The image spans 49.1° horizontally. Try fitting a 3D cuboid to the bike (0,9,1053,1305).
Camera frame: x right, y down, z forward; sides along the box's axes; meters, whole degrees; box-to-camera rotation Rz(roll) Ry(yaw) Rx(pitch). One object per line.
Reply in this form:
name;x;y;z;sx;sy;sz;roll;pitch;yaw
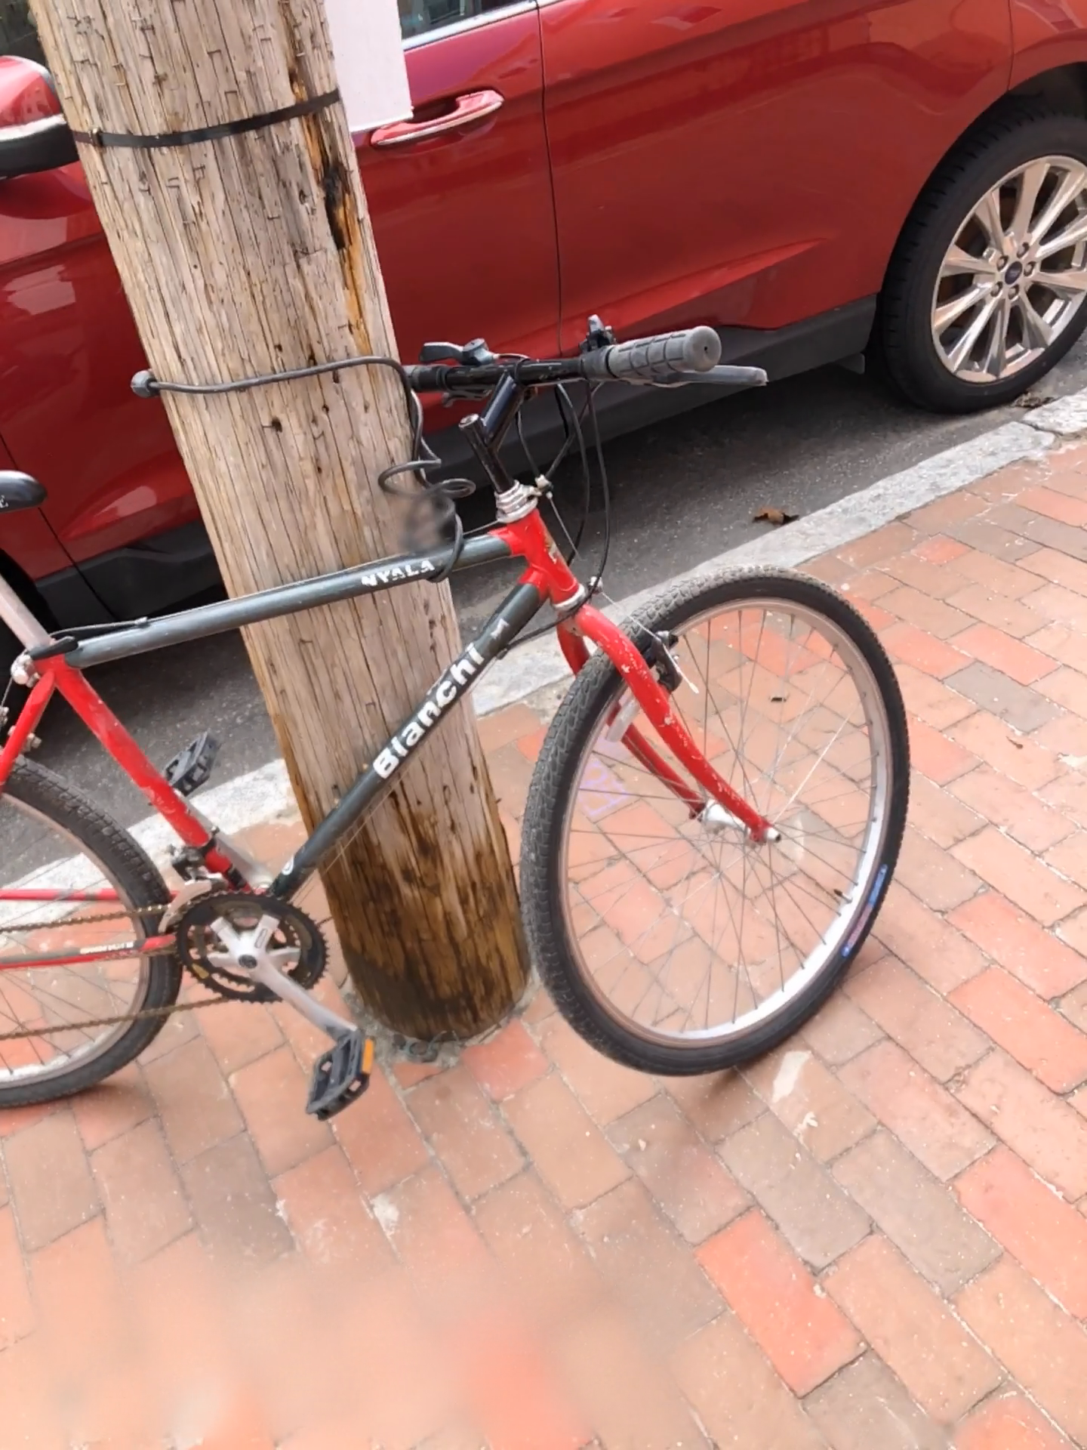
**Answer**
bike;-0.329;-0.058;1.393;1.525;0.983;0.584;-13;37;-2
